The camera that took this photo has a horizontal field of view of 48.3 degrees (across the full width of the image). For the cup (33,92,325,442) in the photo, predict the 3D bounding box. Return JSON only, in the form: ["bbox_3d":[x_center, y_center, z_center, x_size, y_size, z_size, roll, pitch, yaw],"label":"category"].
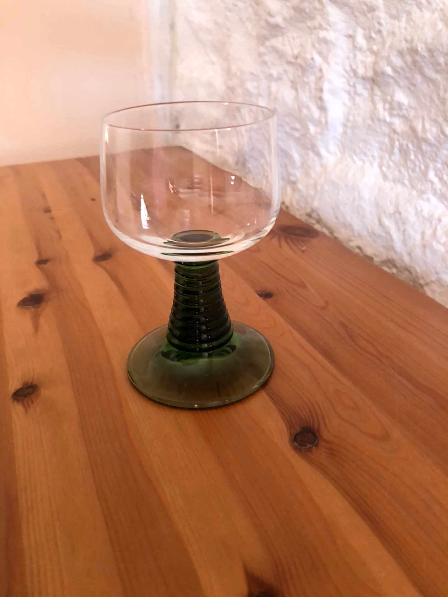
[{"bbox_3d":[-0.009,-0.018,0.195,0.074,0.106,0.074,-1,29,0],"label":"cup"}]
